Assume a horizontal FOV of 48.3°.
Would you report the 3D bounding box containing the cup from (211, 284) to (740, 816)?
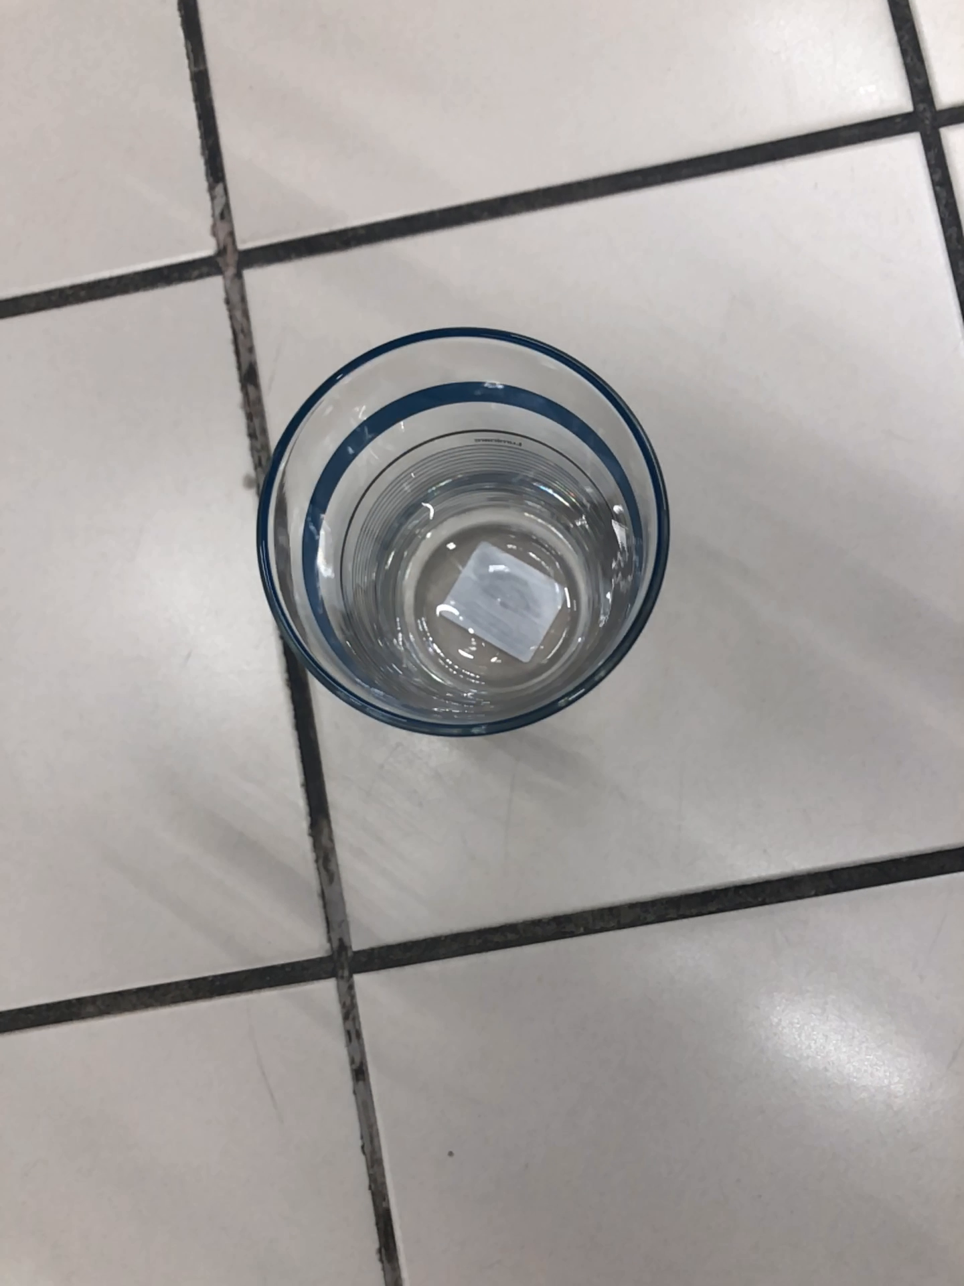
[{"bbox_3d":[0.002,-0.012,0.235,0.079,0.102,0.079,0,85,5],"label":"cup"}]
